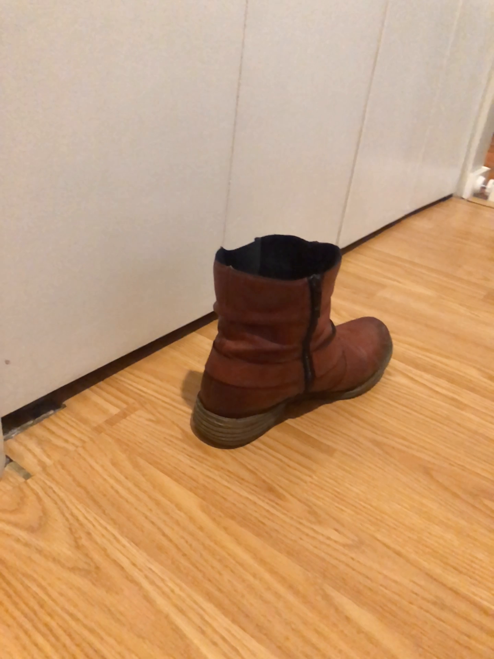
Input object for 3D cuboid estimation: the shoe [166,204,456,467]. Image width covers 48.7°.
[{"bbox_3d":[0.066,-0.012,0.536,0.270,0.169,0.100,-18,38,-38],"label":"shoe"}]
